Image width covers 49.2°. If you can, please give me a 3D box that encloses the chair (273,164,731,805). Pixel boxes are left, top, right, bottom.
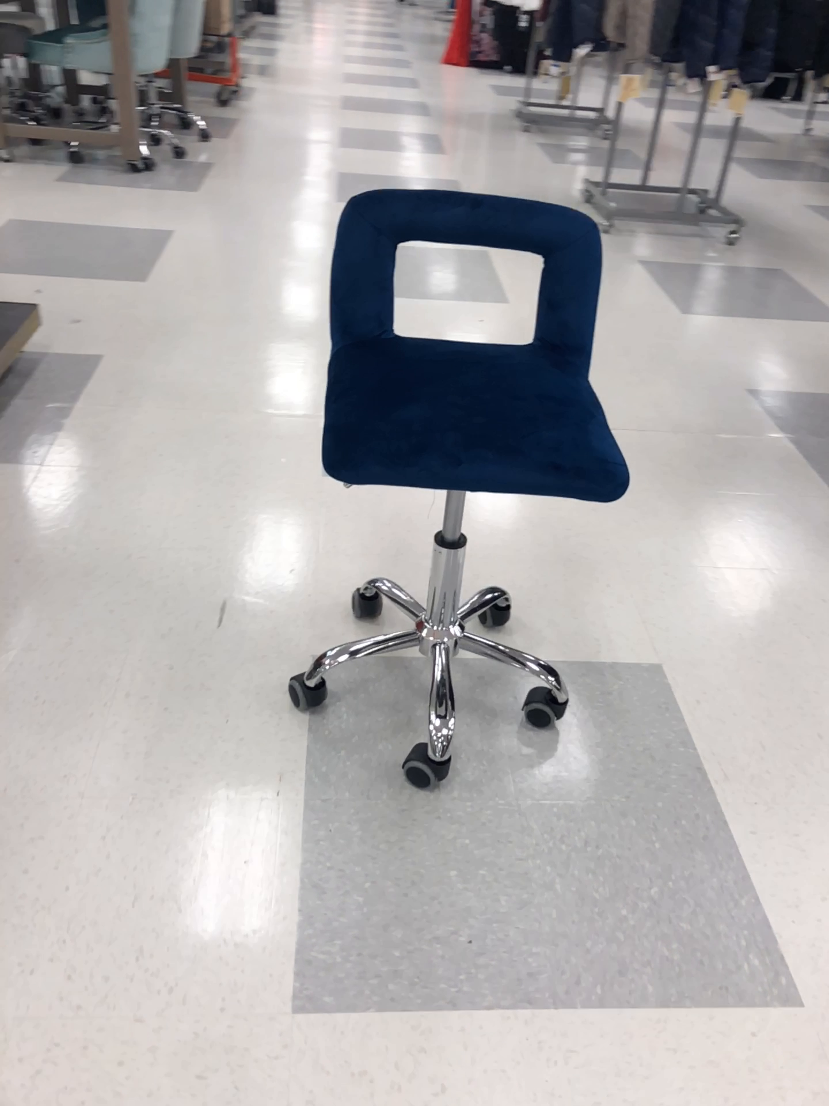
[{"bbox_3d":[0.047,-0.100,1.290,0.447,0.719,0.532,3,33,-5],"label":"chair"}]
